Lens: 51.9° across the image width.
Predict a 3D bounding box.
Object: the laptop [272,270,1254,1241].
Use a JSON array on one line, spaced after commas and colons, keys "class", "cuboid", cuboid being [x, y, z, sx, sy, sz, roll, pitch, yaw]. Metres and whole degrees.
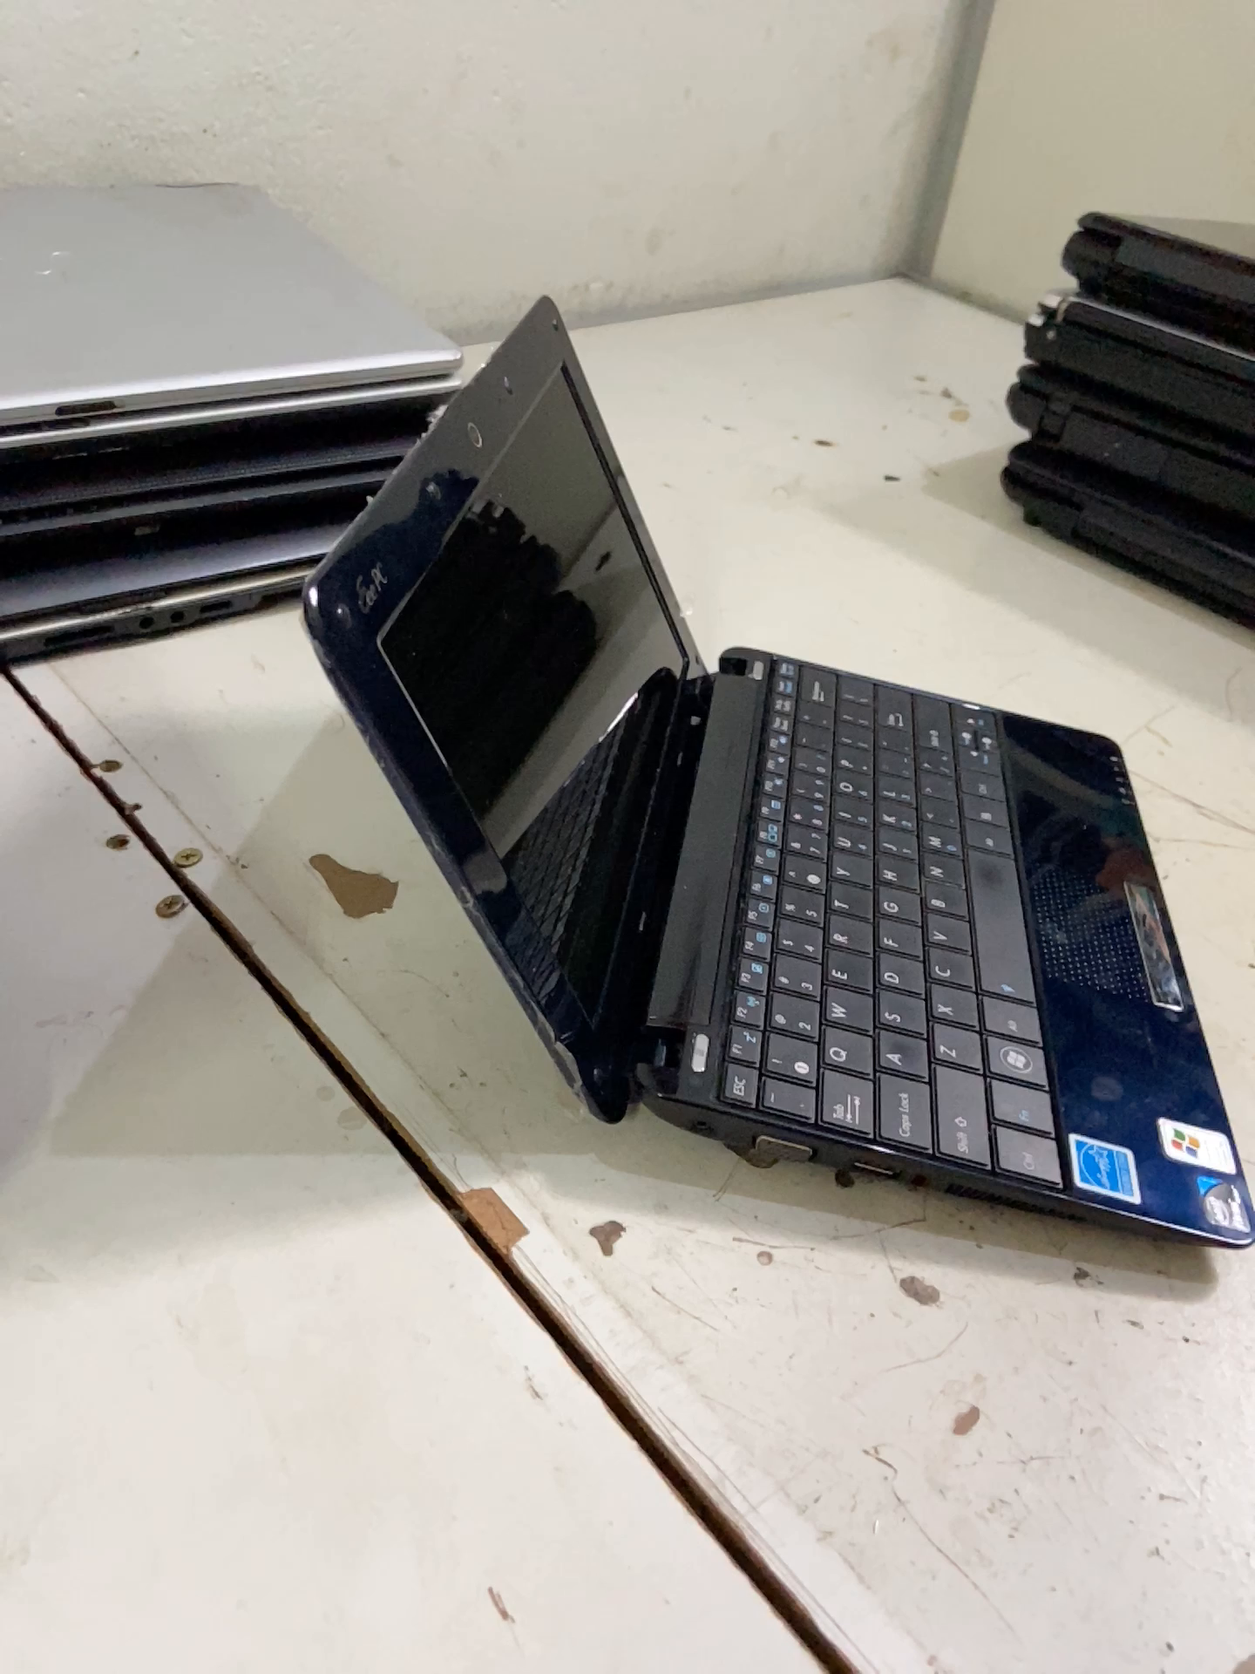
[{"class": "laptop", "cuboid": [0.067, -0.053, 0.425, 0.272, 0.133, 0.261, 13, 37, 2]}]
